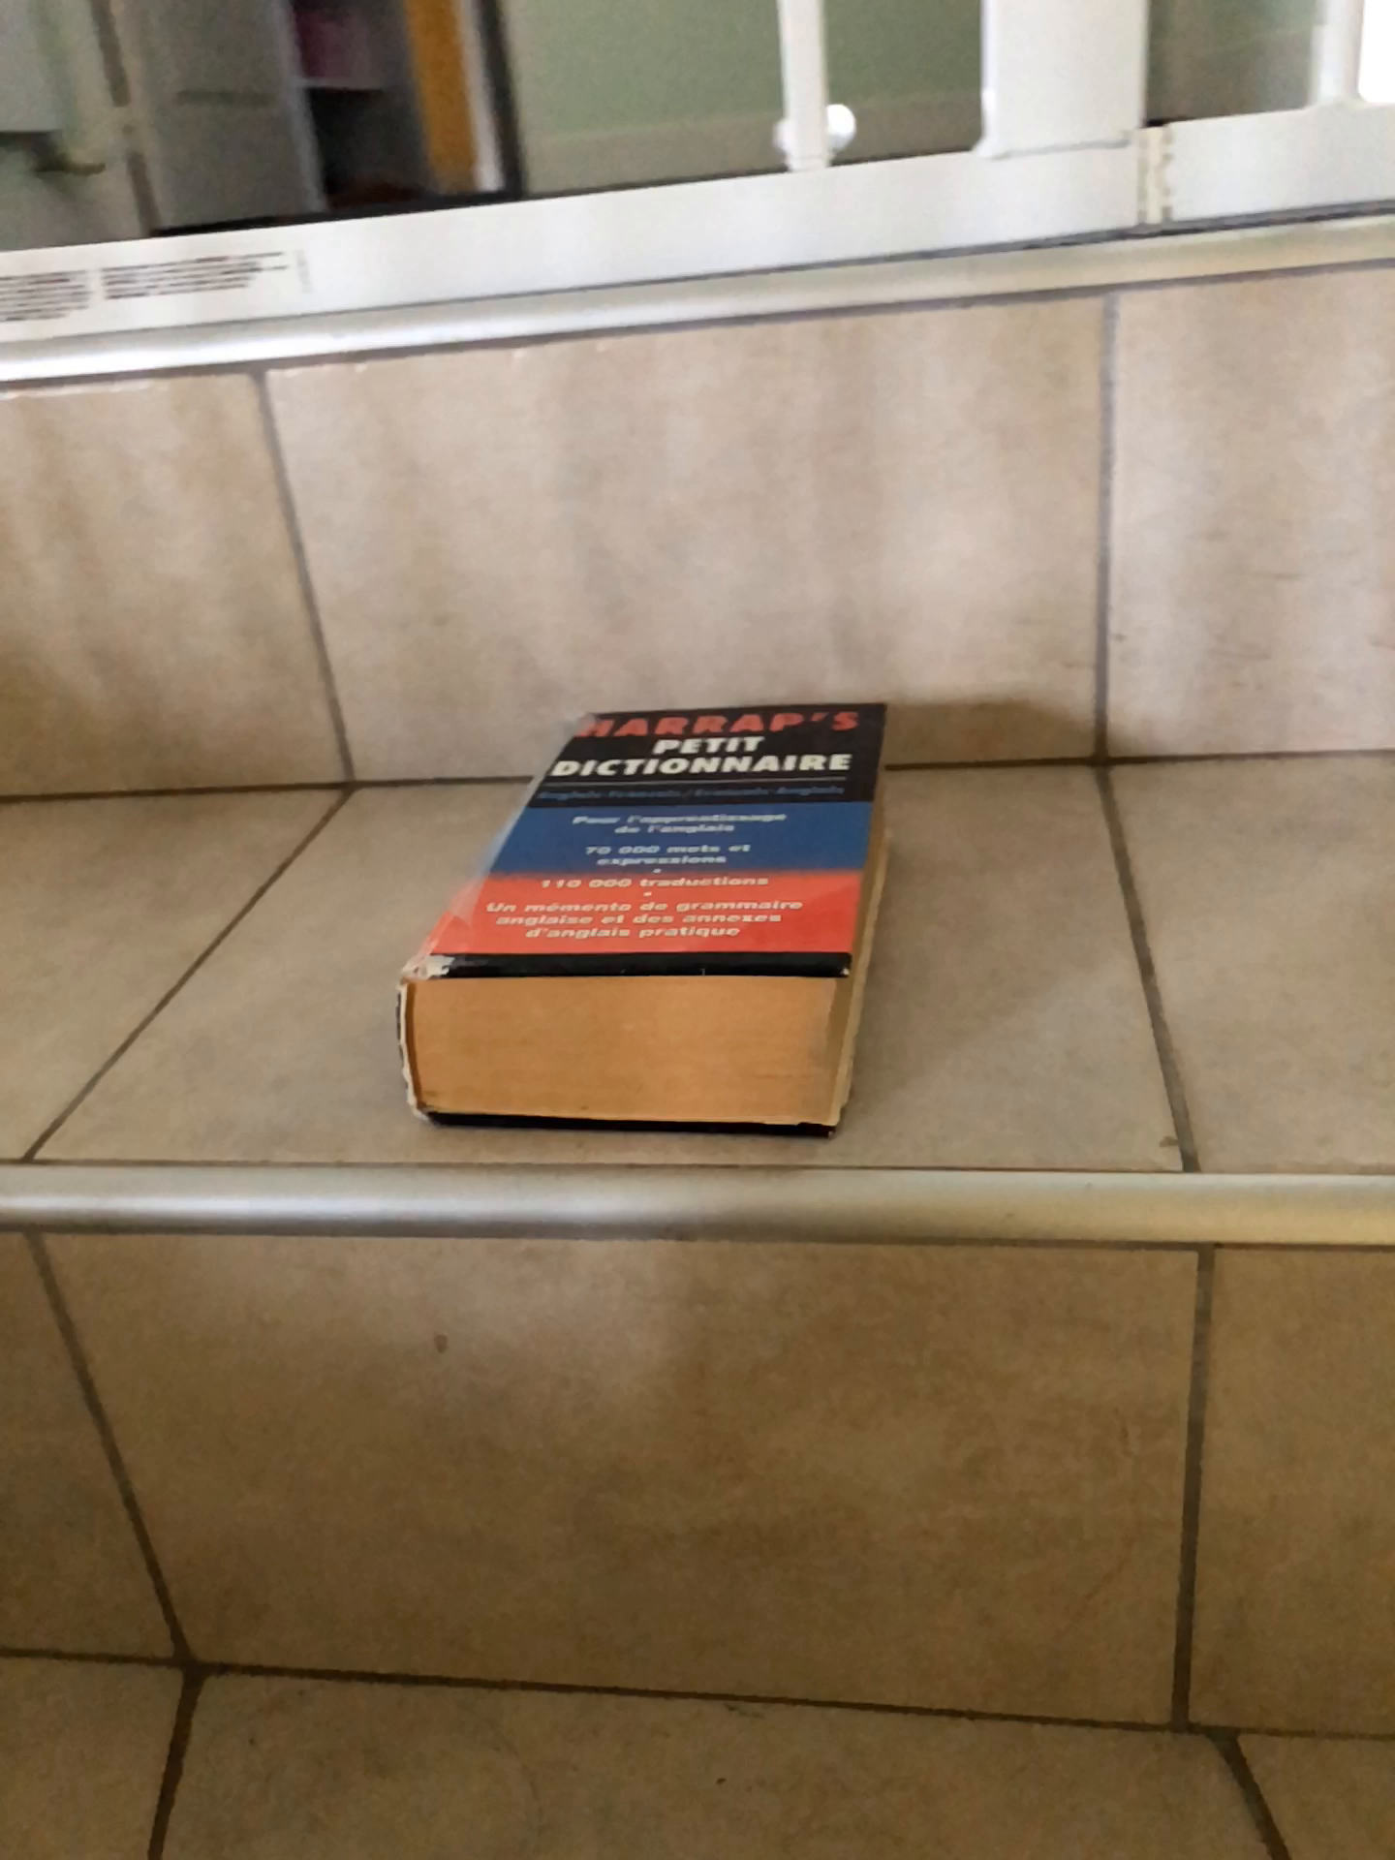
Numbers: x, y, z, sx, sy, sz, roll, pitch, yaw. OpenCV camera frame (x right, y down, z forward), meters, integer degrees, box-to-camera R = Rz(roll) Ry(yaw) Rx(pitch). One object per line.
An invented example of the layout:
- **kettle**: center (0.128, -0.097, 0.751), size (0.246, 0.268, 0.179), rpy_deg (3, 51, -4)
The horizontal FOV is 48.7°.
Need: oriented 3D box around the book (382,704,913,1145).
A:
- **book**: center (-0.001, -0.011, 0.456), size (0.118, 0.050, 0.186), rpy_deg (-1, 26, 11)
